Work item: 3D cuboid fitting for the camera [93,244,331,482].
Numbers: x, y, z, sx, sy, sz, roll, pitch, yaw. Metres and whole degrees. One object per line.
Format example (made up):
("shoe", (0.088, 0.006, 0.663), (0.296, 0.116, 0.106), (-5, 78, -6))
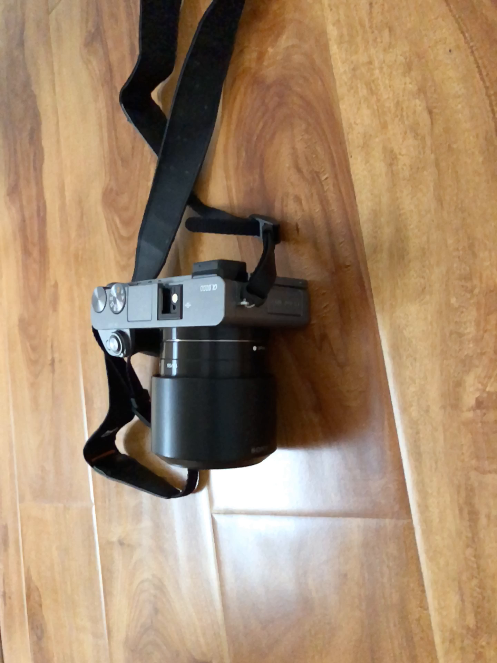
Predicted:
("camera", (-0.026, 0.018, 0.326), (0.131, 0.070, 0.110), (-3, 86, 44))
